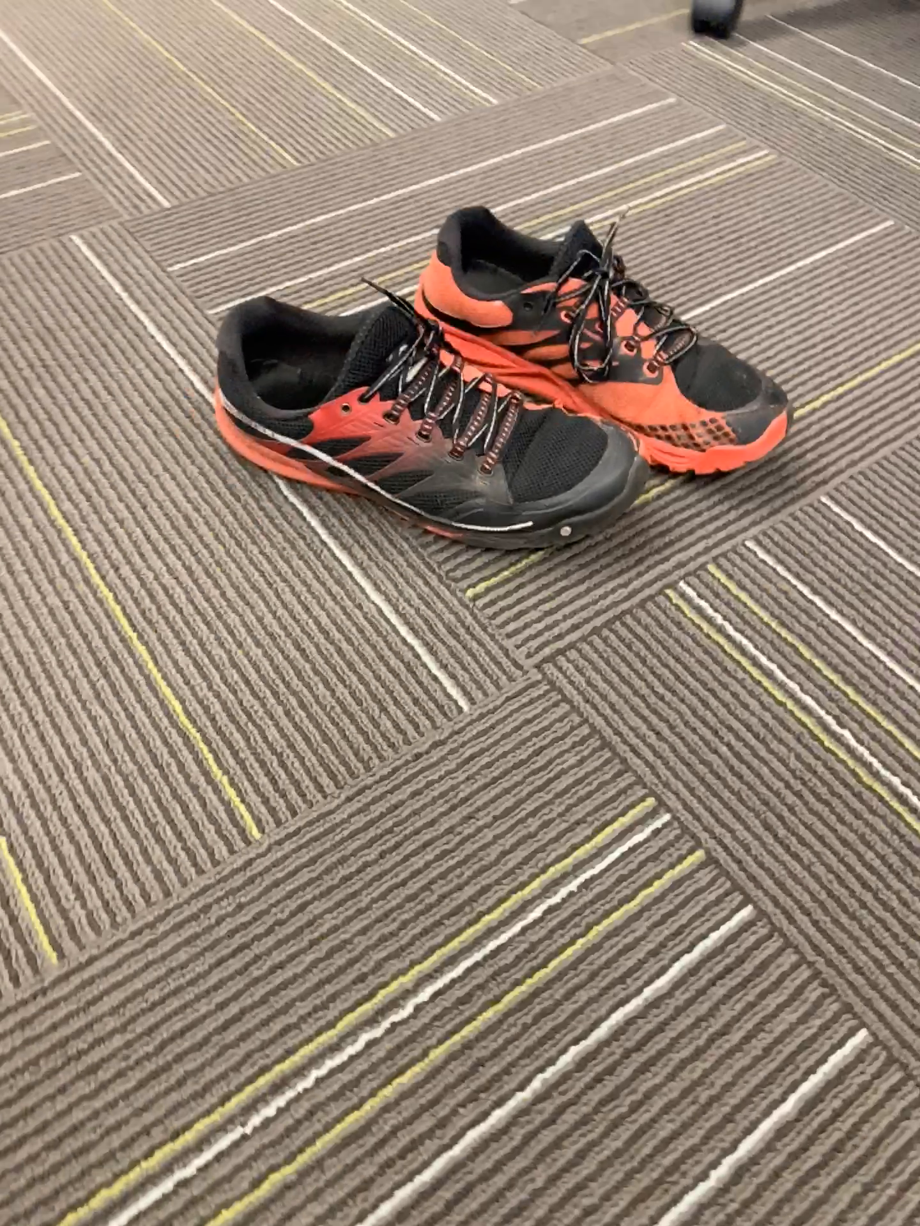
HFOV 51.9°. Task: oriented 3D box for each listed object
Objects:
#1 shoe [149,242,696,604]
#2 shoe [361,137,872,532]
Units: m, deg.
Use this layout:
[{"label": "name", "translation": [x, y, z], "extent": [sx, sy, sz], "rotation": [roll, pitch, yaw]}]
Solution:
[{"label": "shoe", "translation": [-0.019, -0.128, 0.628], "extent": [0.310, 0.129, 0.131], "rotation": [12, 53, 8]}, {"label": "shoe", "translation": [0.099, -0.210, 0.688], "extent": [0.320, 0.129, 0.130], "rotation": [28, 57, 18]}]
